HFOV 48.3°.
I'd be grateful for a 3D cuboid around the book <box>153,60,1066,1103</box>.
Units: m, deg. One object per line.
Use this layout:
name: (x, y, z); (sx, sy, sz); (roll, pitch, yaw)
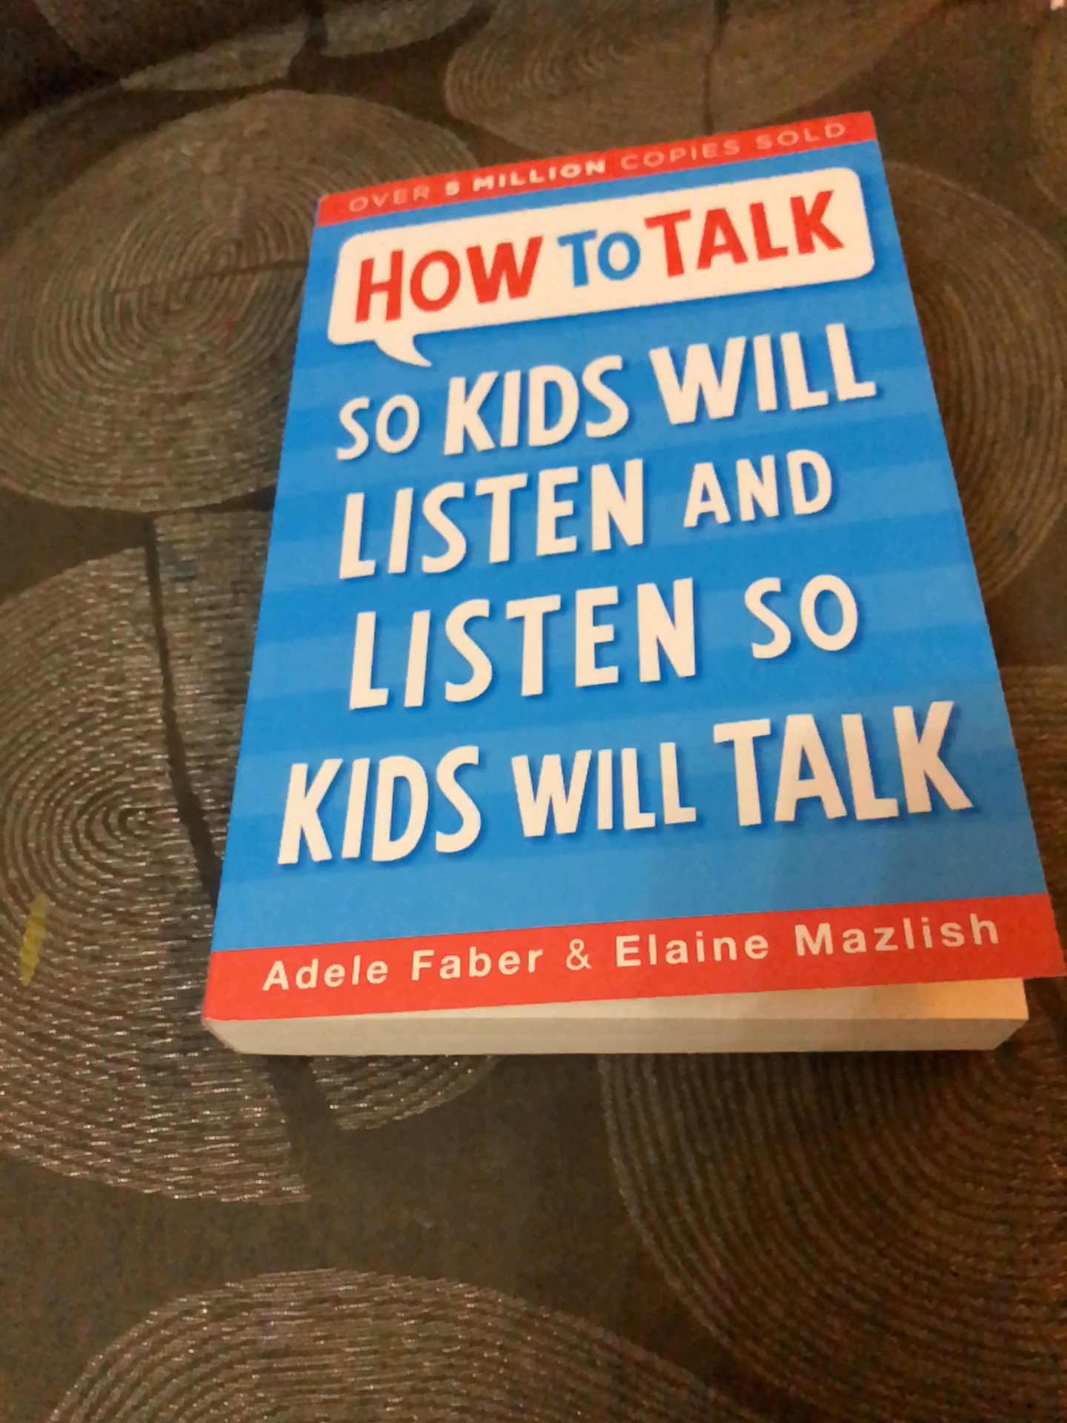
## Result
book: (0.010, -0.036, 0.237); (0.140, 0.030, 0.211); (-4, 64, 8)
